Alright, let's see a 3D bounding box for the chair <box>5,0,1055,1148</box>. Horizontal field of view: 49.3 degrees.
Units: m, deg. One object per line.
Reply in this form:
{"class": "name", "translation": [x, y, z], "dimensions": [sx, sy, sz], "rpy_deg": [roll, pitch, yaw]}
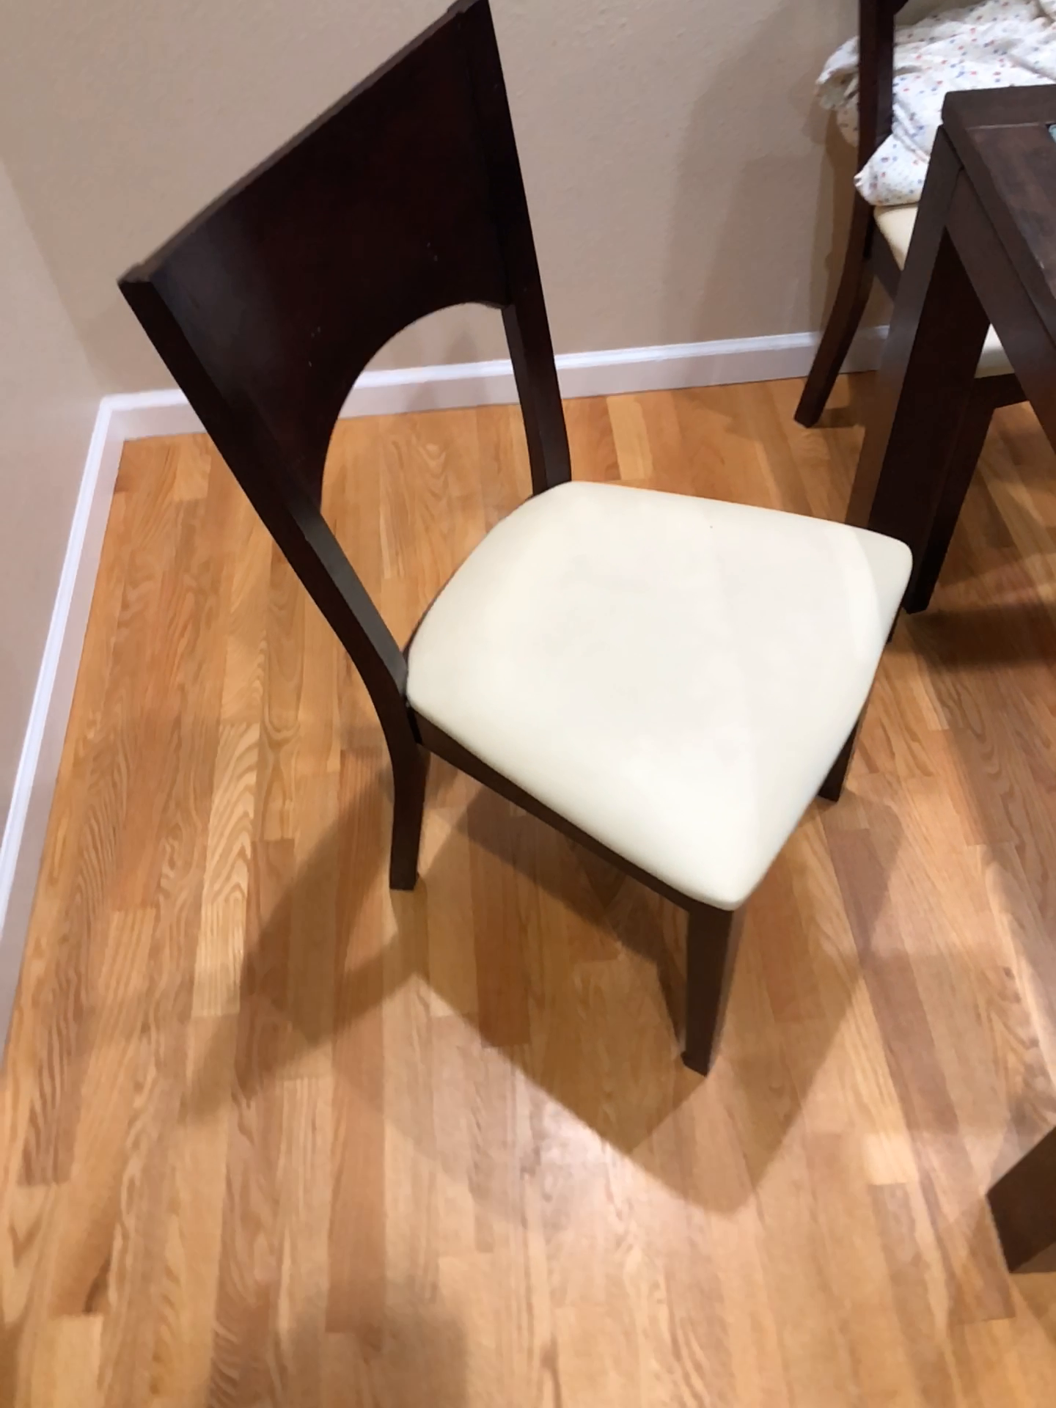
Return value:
{"class": "chair", "translation": [0.068, -0.080, 1.095], "dimensions": [0.531, 0.906, 0.522], "rpy_deg": [25, 59, 20]}
